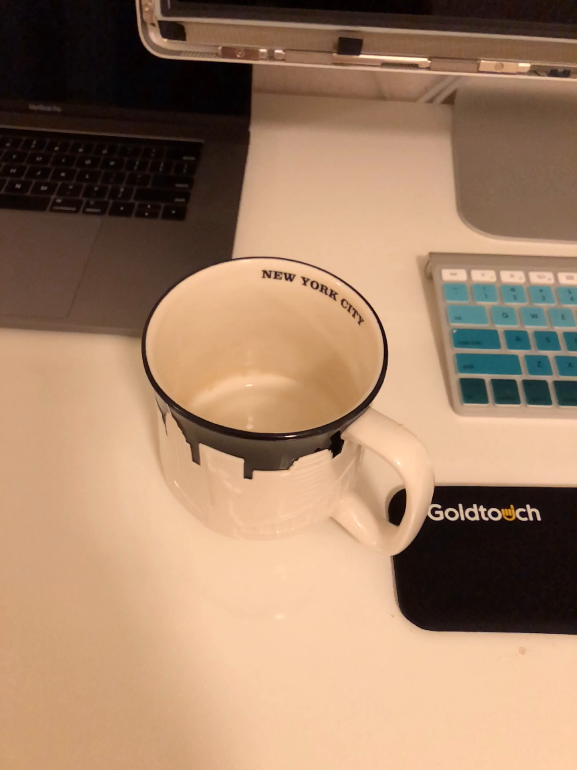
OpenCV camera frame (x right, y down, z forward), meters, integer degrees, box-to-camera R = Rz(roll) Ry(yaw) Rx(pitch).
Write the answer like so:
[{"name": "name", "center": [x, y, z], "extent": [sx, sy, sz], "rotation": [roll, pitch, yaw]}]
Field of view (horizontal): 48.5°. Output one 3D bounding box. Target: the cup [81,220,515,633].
[{"name": "cup", "center": [0.005, 0.014, 0.295], "extent": [0.140, 0.090, 0.110], "rotation": [26, 55, 16]}]
